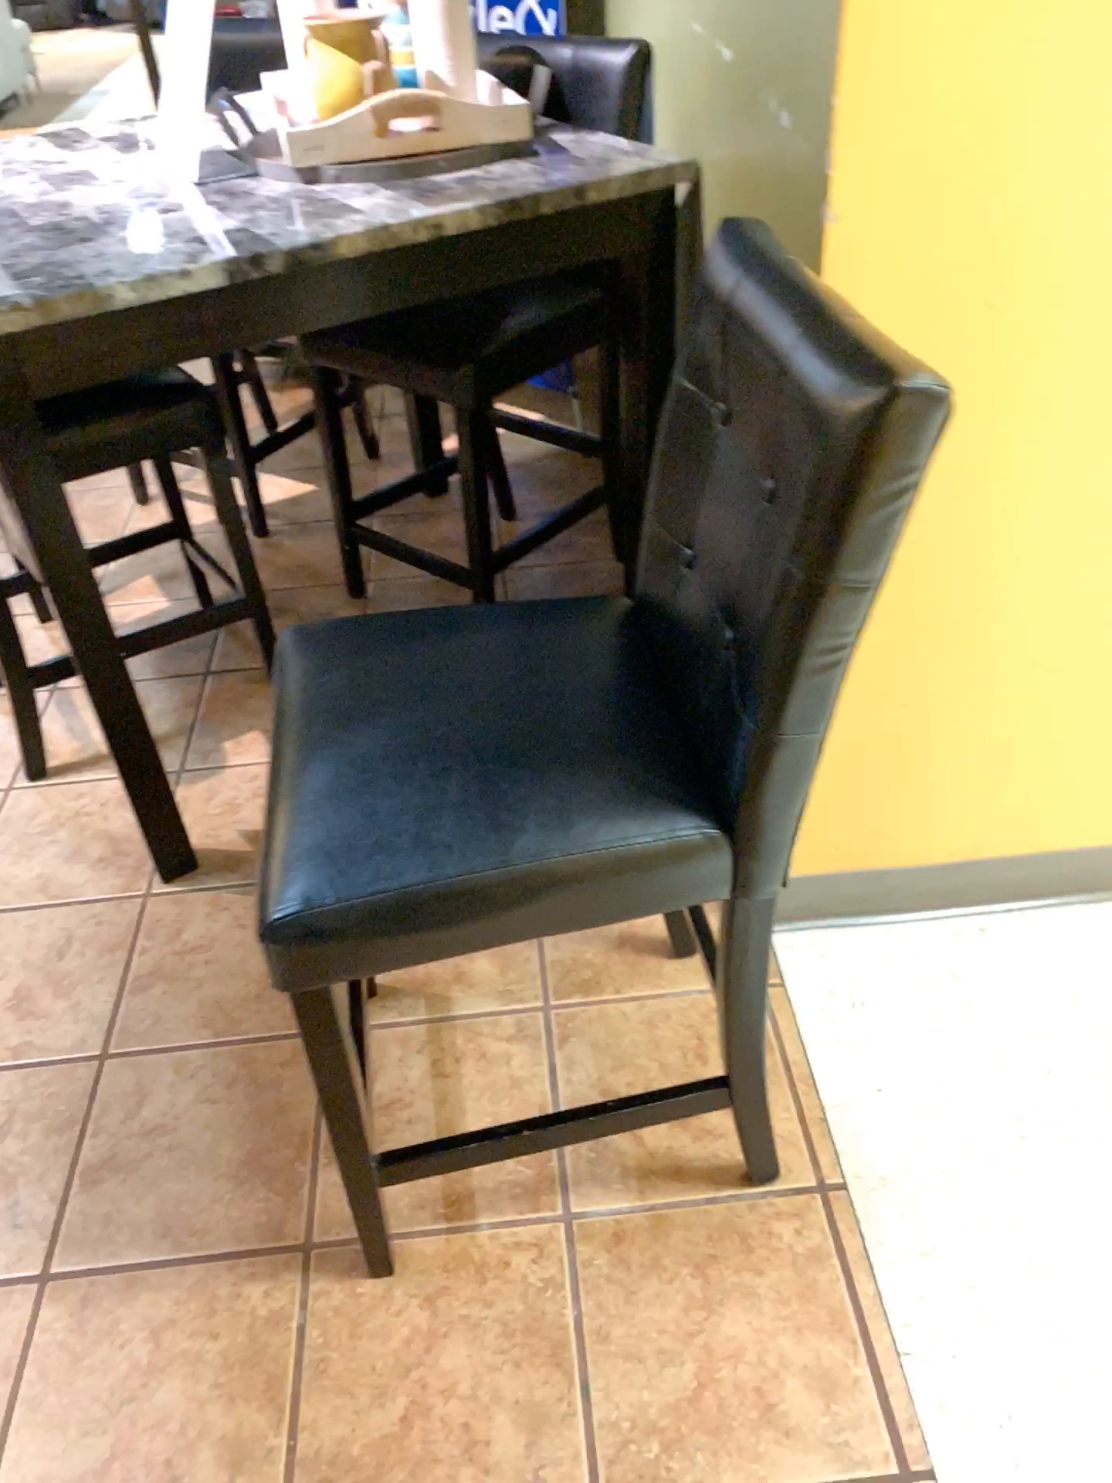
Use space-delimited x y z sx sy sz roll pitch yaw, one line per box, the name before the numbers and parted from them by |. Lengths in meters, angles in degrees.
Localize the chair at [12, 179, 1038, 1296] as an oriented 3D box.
chair | -0.018 0.032 1.169 0.618 0.961 0.501 -9 38 -5
